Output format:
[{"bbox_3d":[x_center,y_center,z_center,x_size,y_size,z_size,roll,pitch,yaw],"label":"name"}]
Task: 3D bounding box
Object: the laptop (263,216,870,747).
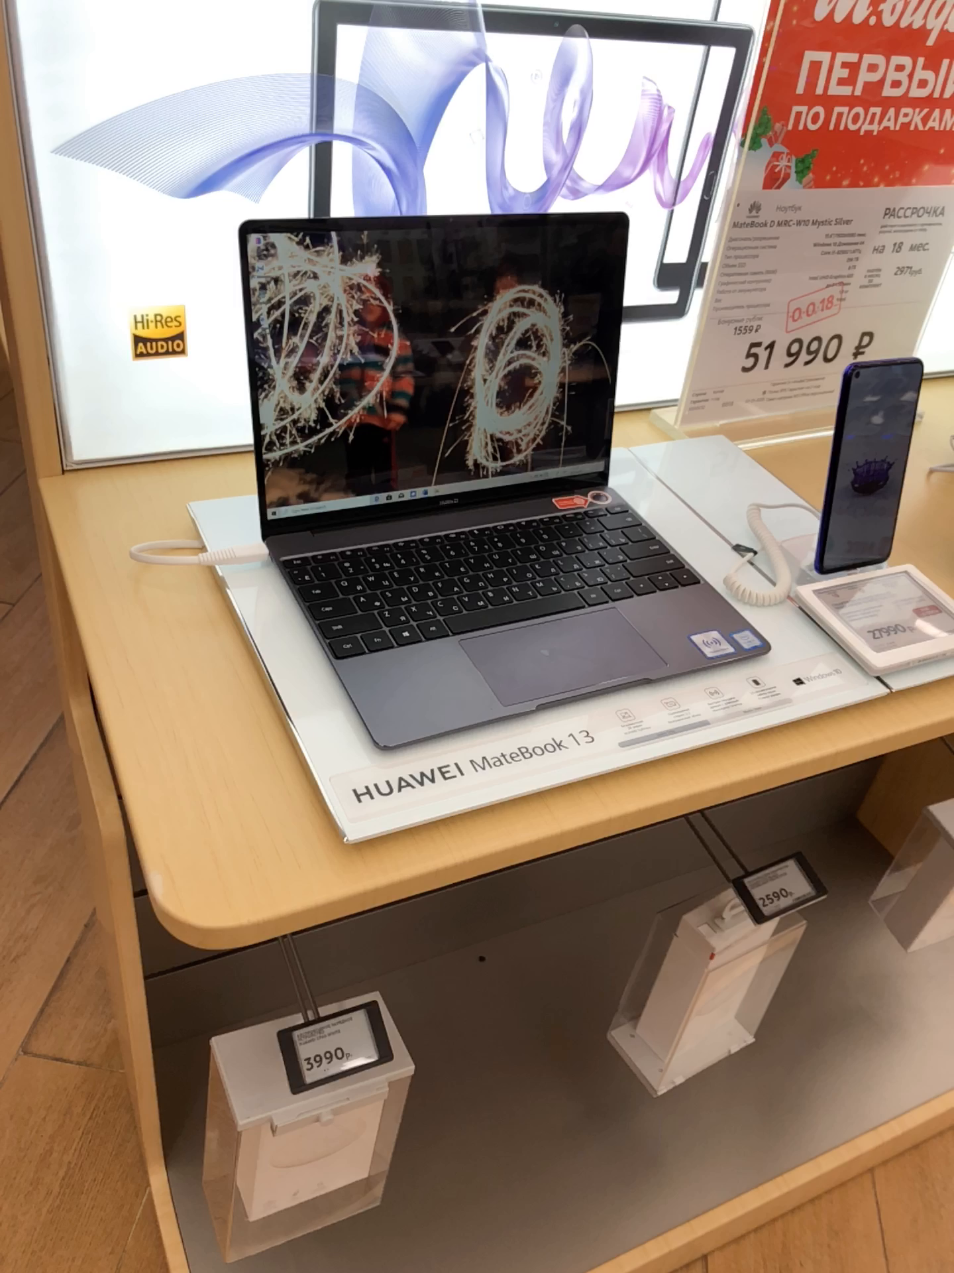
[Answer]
[{"bbox_3d":[0.034,-0.119,0.655,0.275,0.192,0.245,-11,43,-25],"label":"laptop"}]
